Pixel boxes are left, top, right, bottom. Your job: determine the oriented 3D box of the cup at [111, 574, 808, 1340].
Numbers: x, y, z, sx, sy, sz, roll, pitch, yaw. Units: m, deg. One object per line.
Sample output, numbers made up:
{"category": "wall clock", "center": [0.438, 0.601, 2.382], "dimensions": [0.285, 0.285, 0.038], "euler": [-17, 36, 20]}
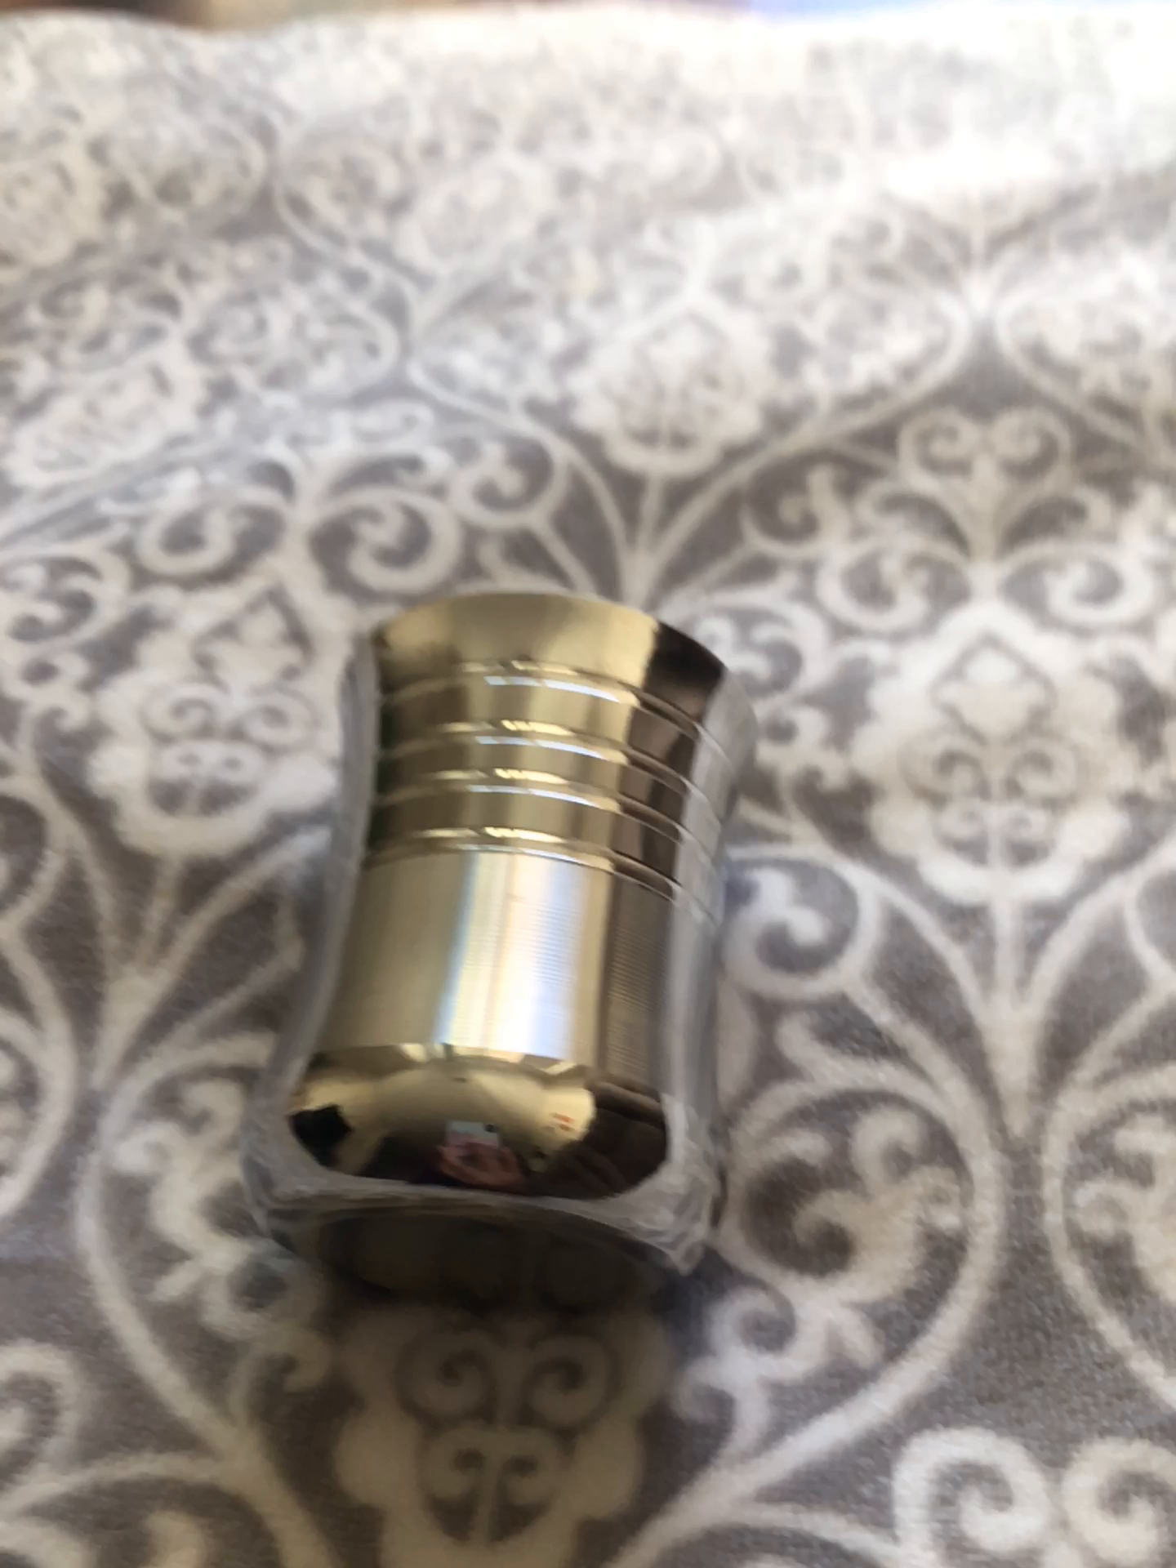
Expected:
{"category": "cup", "center": [-0.009, 0.024, 0.198], "dimensions": [0.077, 0.066, 0.086], "euler": [3, 50, 7]}
